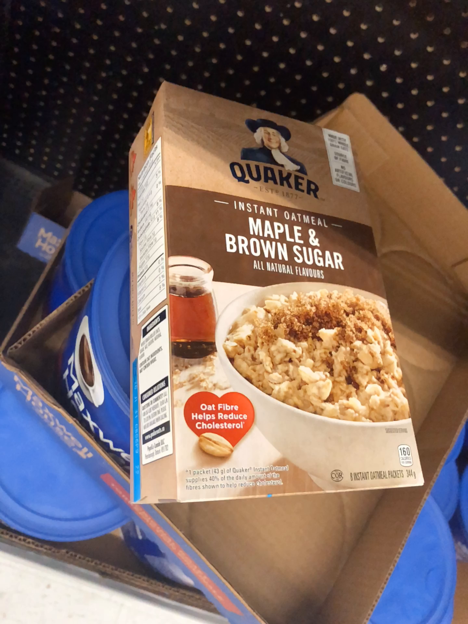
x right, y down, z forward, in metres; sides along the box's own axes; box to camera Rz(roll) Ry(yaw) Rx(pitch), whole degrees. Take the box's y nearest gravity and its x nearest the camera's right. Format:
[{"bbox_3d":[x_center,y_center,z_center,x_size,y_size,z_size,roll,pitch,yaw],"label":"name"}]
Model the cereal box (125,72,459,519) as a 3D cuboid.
[{"bbox_3d":[0.021,-0.004,0.279,0.140,0.070,0.200,6,68,-26],"label":"cereal box"}]
